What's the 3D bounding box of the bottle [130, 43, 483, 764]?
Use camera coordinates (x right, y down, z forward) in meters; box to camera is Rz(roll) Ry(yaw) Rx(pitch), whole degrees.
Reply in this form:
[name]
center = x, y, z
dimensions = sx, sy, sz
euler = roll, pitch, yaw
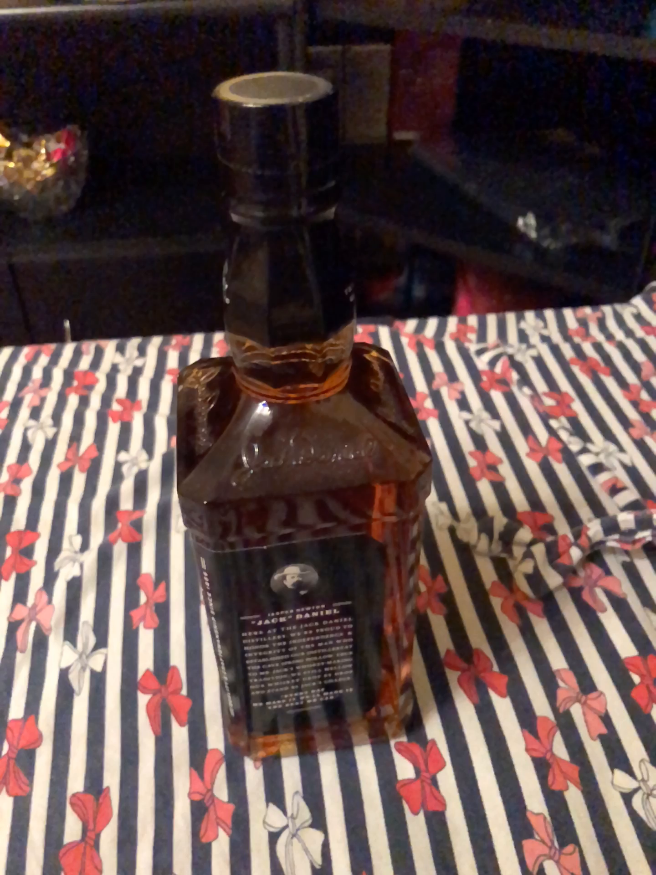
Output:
[bottle]
center = -0.007, 0.009, 0.255
dimensions = 0.073, 0.246, 0.075
euler = -1, 38, 1
